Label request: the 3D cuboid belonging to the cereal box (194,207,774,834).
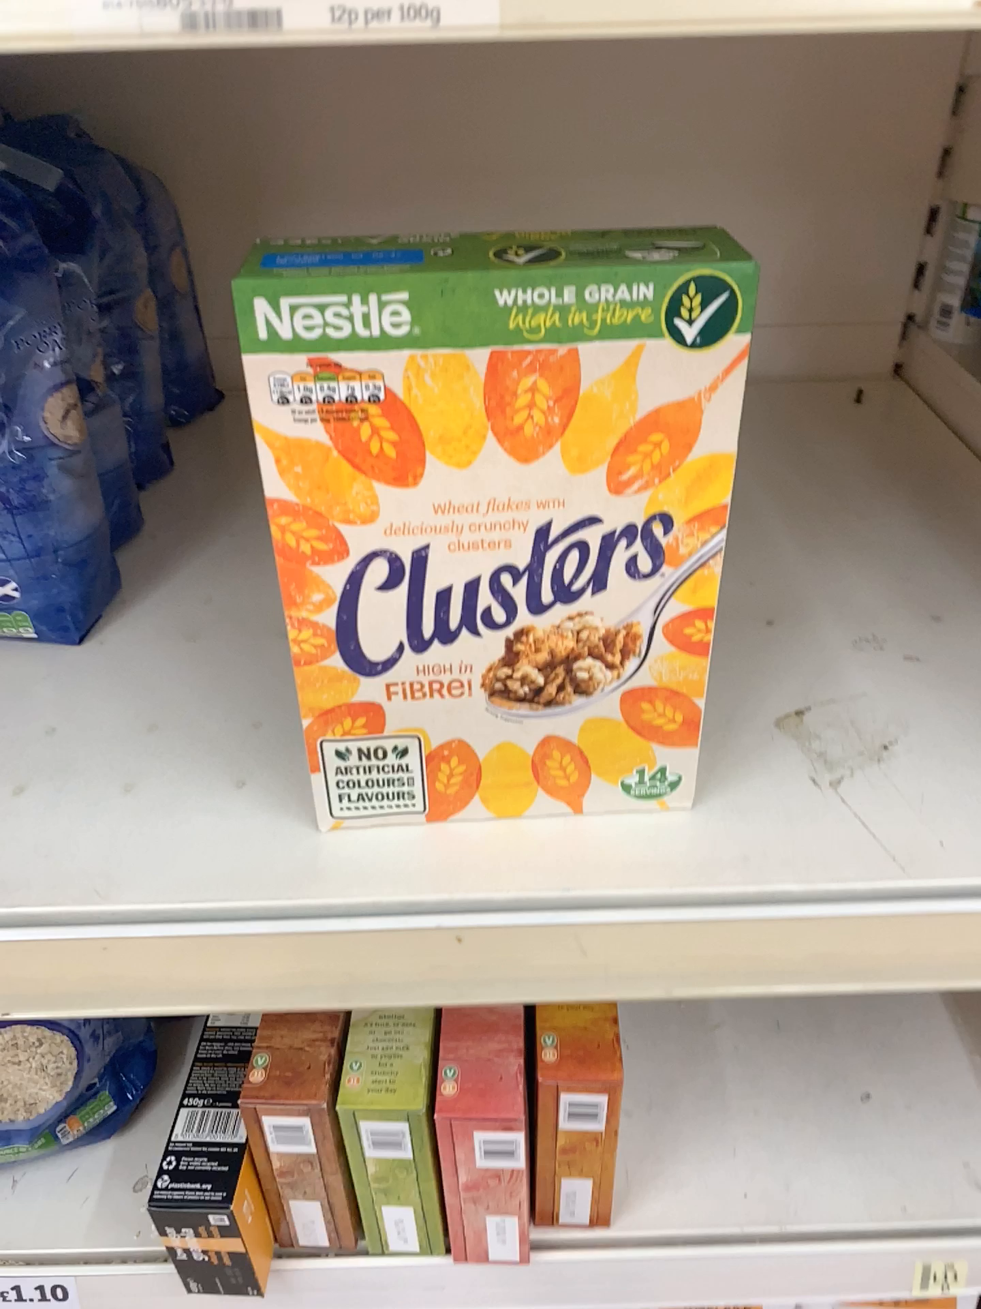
[{"bbox_3d":[-0.001,-0.045,0.446,0.200,0.267,0.061,-3,34,-3],"label":"cereal box"}]
